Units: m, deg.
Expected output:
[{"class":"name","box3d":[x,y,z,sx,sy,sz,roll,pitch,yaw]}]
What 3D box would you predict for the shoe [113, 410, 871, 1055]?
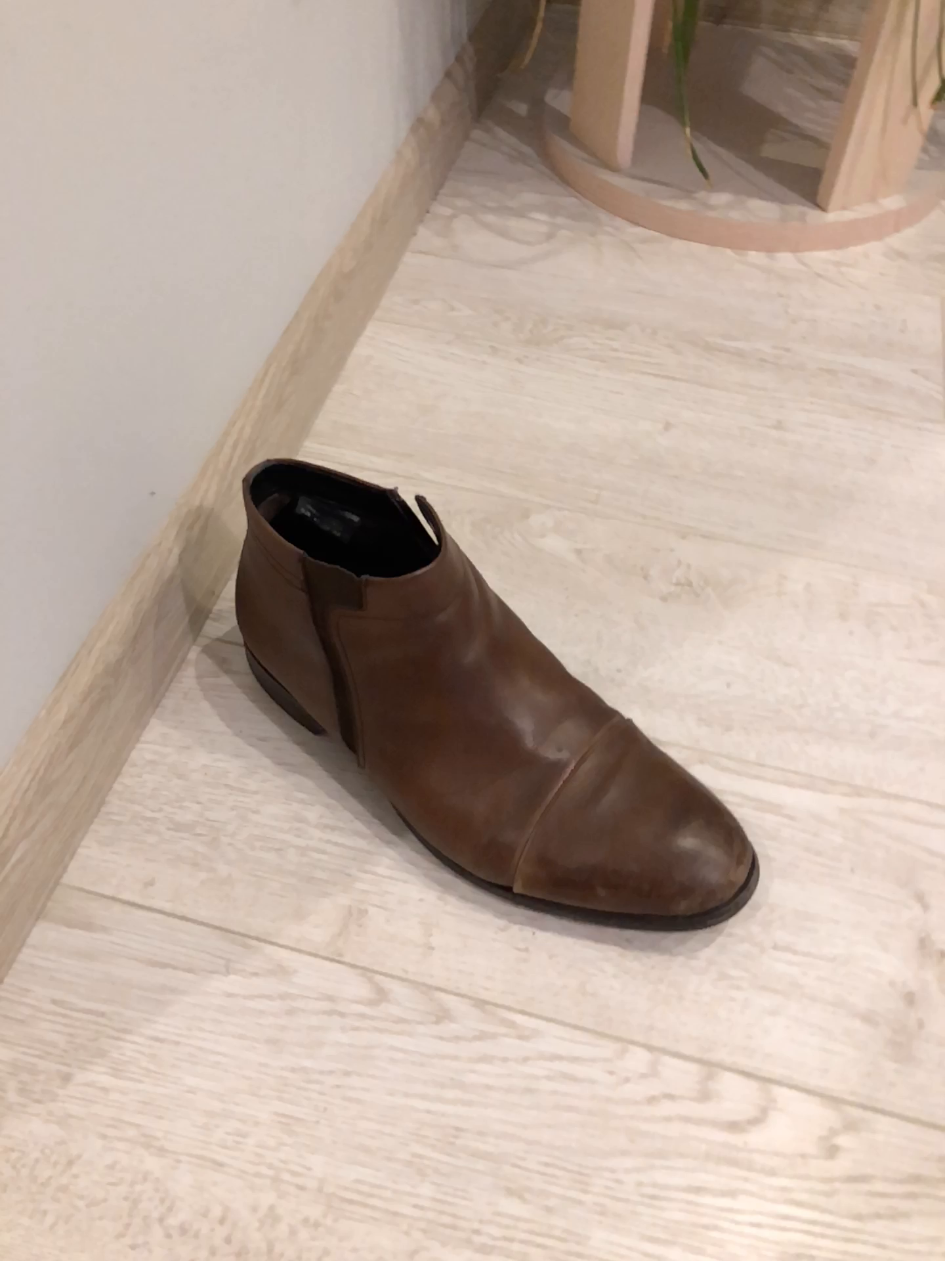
[{"class":"shoe","box3d":[-0.003,0.032,0.480,0.311,0.109,0.121,30,56,23]}]
